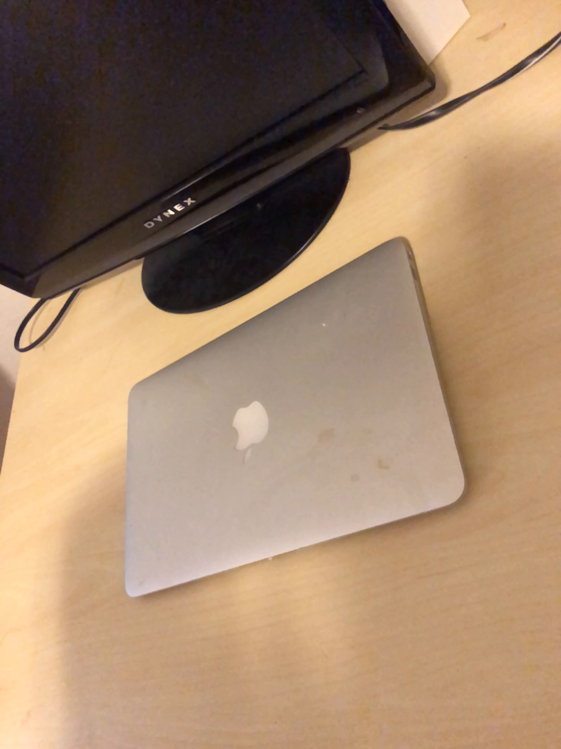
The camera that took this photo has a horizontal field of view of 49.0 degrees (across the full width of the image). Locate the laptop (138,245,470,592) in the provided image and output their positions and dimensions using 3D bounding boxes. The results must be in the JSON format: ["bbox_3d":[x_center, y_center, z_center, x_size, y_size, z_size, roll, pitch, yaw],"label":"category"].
[{"bbox_3d":[-0.012,0.041,0.461,0.279,0.005,0.181,-25,57,30],"label":"laptop"}]
